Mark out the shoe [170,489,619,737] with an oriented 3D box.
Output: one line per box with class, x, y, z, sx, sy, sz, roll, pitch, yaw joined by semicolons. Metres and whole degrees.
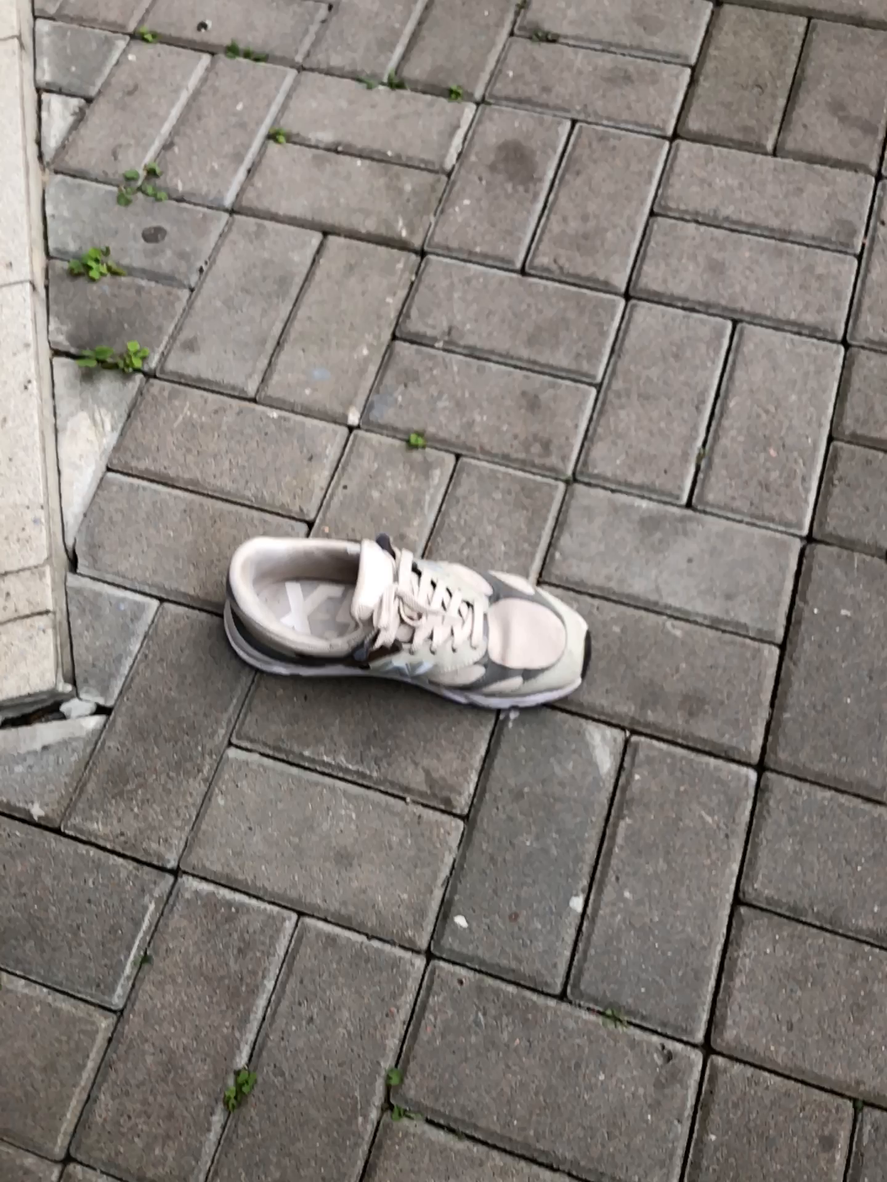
shoe;-0.029;0.018;0.733;0.300;0.110;0.120;7;70;8
